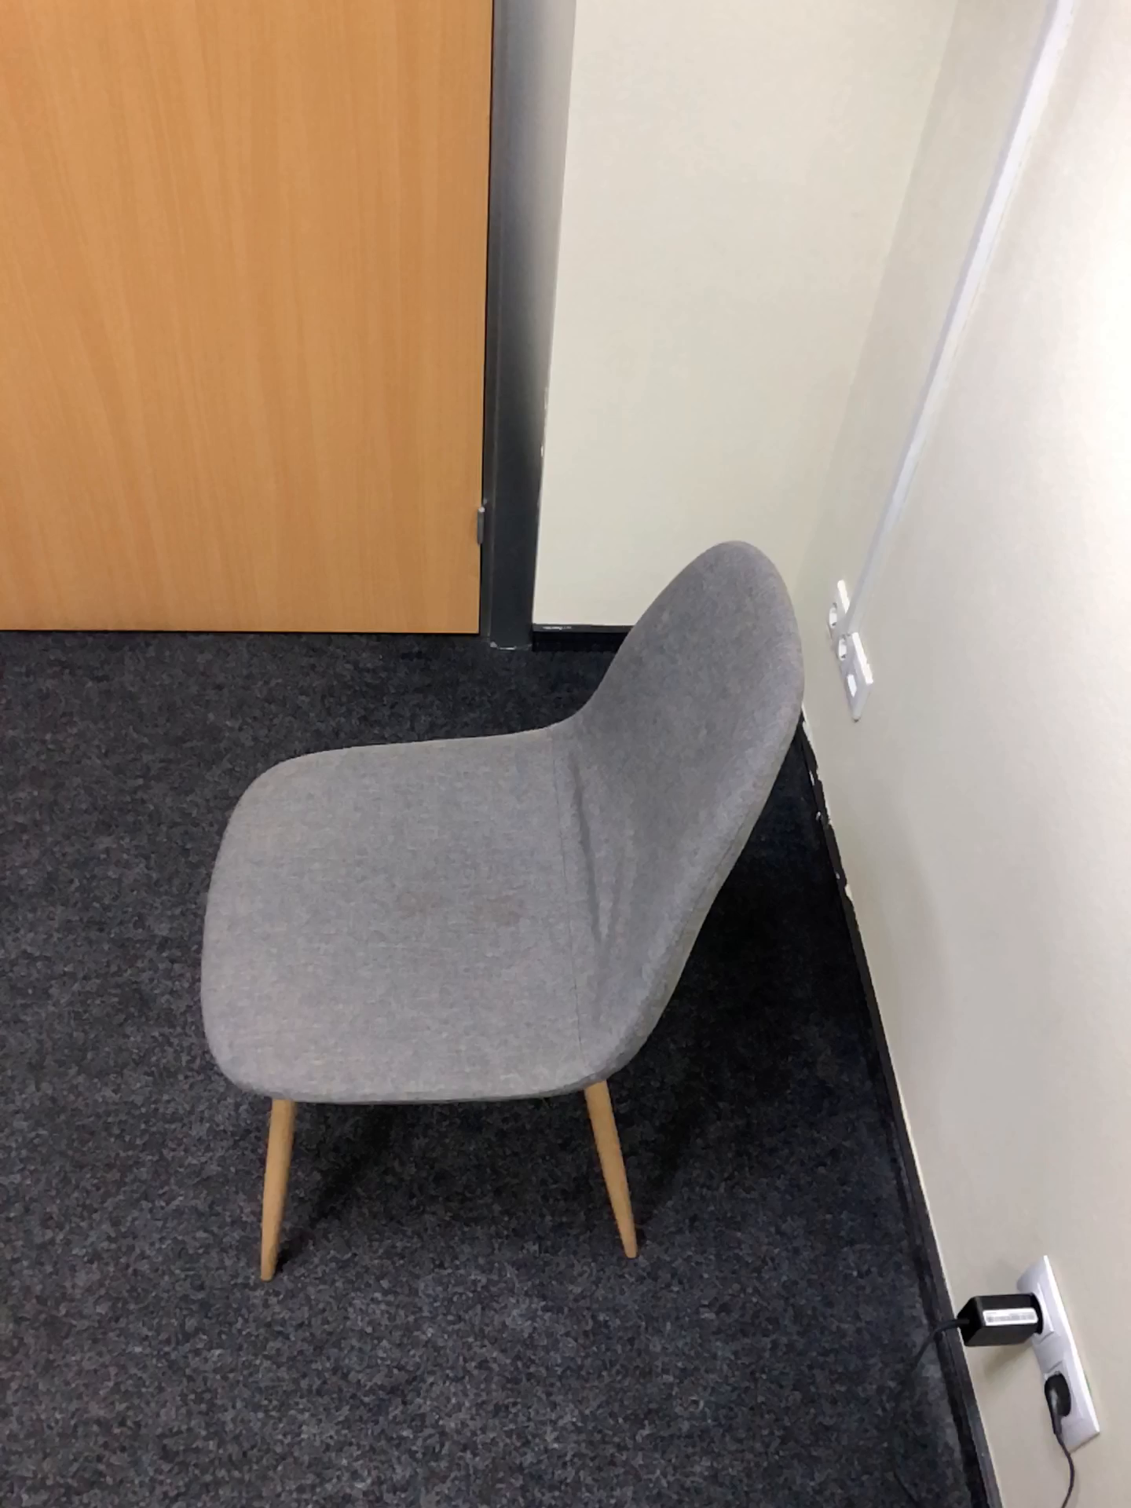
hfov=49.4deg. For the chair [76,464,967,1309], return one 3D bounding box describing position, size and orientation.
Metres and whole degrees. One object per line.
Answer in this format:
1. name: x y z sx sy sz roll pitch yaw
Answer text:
1. chair: -0.070 0.170 1.272 0.600 0.786 0.473 -2 48 -7
